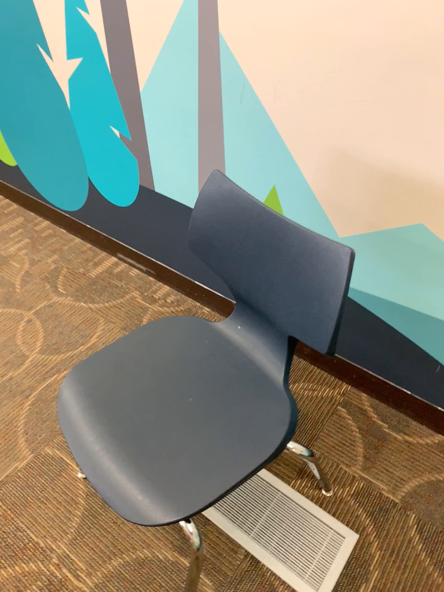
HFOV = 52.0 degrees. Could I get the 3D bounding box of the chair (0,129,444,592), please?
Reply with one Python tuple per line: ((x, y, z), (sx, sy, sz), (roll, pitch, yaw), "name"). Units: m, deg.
((-0.051, 0.188, 0.954), (0.581, 0.747, 0.572), (-31, 52, -28), "chair")
